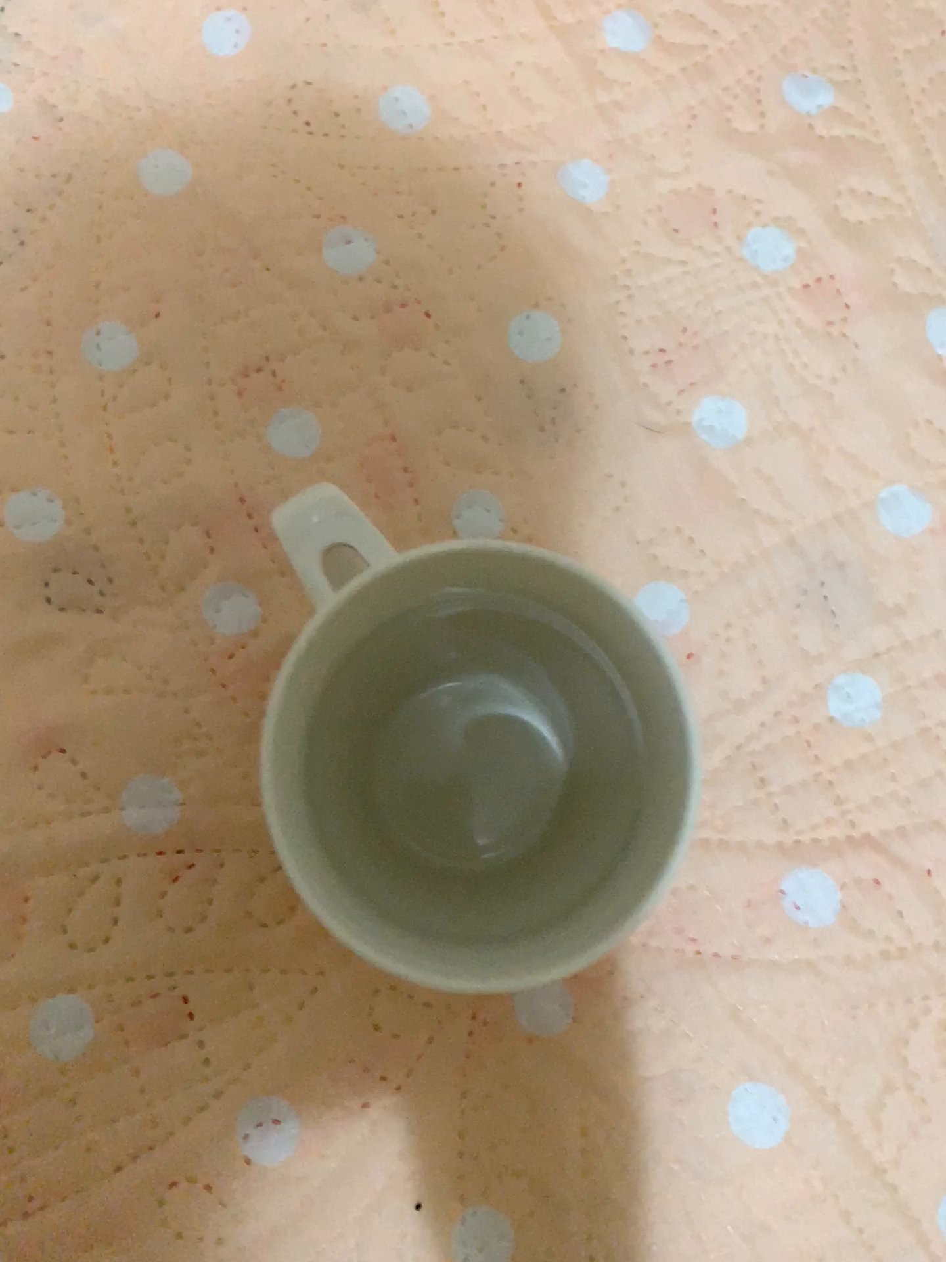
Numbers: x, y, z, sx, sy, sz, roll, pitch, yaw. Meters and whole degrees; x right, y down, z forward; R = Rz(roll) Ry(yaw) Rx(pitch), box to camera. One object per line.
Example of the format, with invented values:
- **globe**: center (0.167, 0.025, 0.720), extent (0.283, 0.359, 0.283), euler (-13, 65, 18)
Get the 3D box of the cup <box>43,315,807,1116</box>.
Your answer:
- **cup**: center (-0.012, 0.019, 0.232), extent (0.090, 0.100, 0.120), euler (-35, 82, -9)
